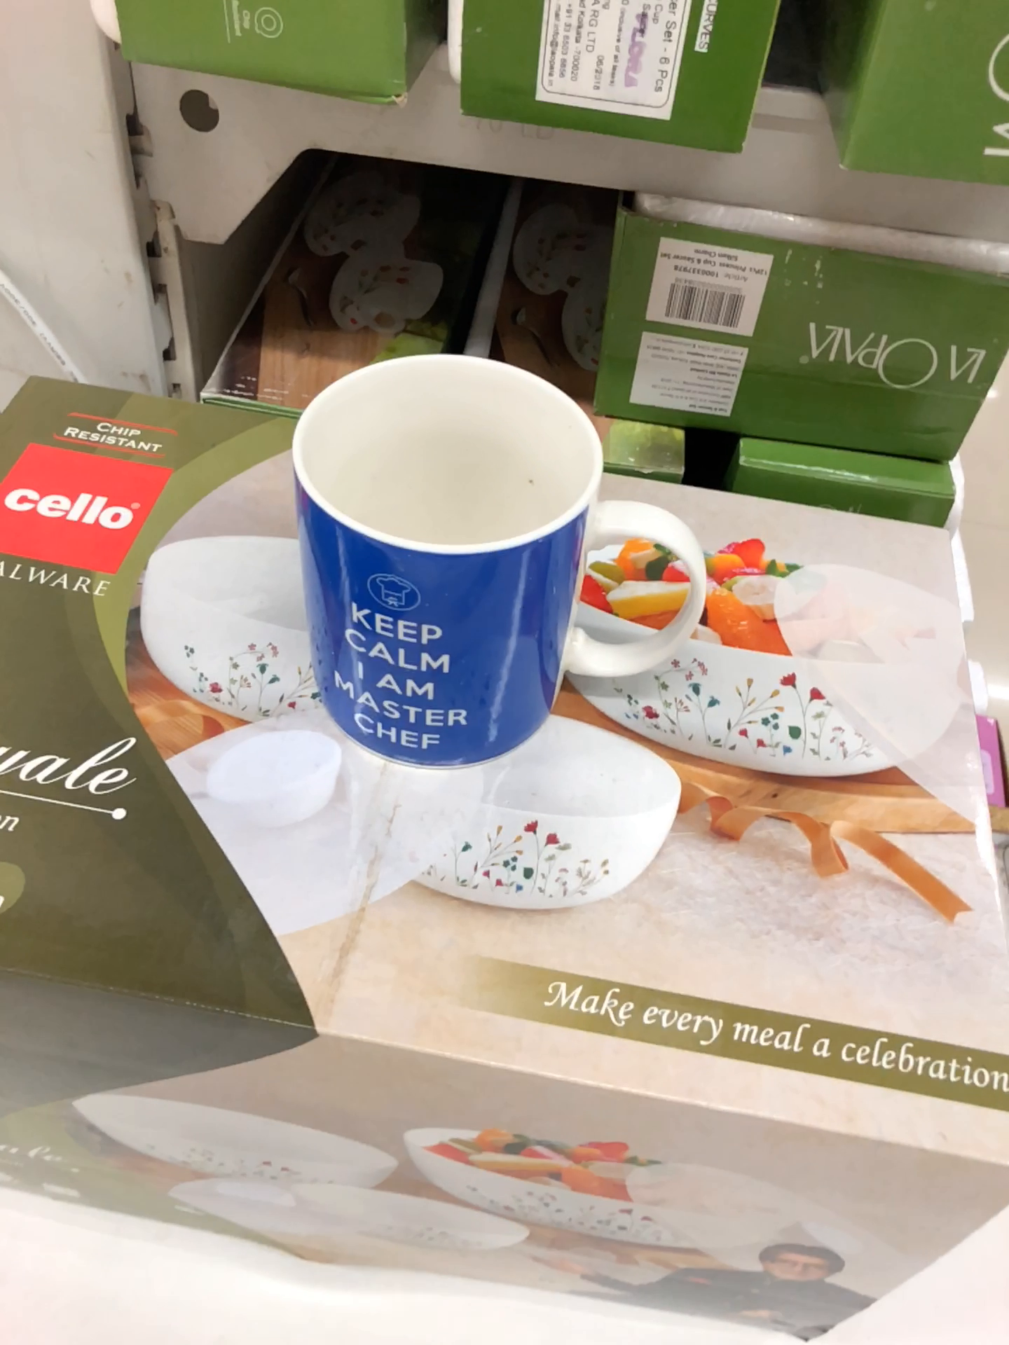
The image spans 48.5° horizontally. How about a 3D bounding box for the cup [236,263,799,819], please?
[{"bbox_3d":[0.007,-0.041,0.347,0.140,0.099,0.111,11,49,2],"label":"cup"}]
